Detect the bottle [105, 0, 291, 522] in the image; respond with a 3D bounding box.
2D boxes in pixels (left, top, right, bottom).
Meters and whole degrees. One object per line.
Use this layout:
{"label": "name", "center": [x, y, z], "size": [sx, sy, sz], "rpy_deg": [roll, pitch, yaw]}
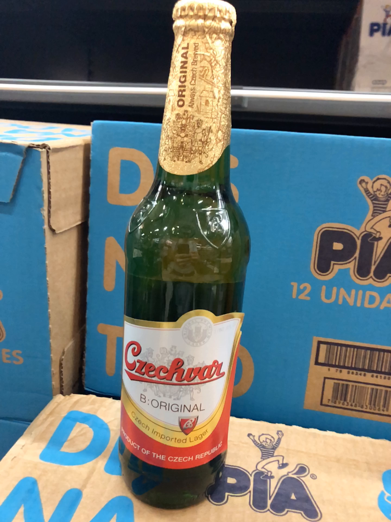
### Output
{"label": "bottle", "center": [-0.004, 0.000, 0.239], "size": [0.070, 0.269, 0.070], "rpy_deg": [4, 13, -1]}
